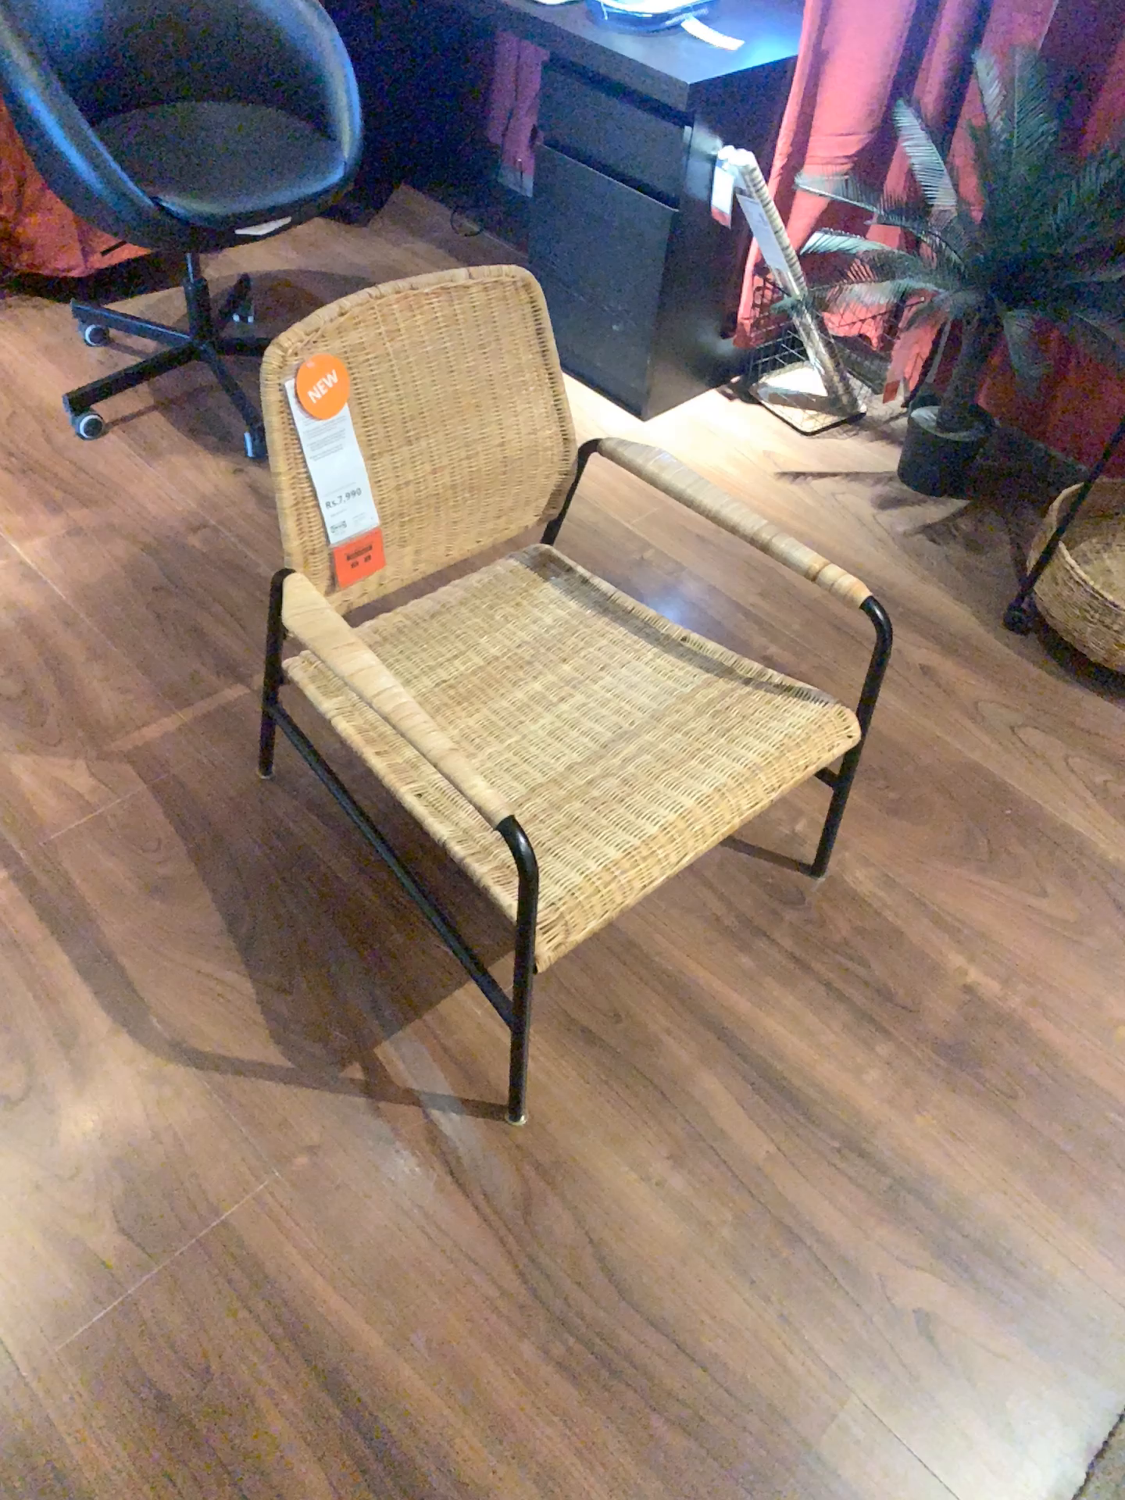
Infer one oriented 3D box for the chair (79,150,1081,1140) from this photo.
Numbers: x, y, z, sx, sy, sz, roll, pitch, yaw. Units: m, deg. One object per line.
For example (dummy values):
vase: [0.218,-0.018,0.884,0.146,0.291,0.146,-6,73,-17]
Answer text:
chair: [-0.017,-0.172,1.479,0.711,0.757,0.791,-32,59,-31]
